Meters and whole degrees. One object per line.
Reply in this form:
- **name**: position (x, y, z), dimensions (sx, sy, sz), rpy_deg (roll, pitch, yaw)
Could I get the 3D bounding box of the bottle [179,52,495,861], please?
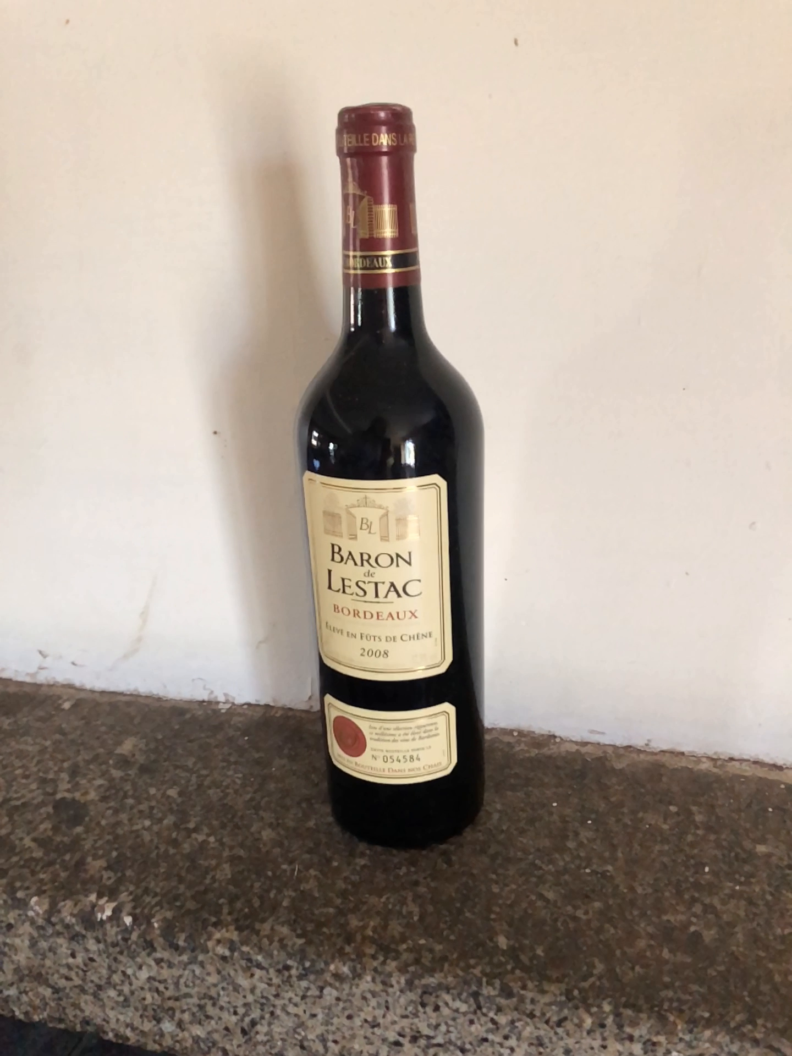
- **bottle**: position (-0.011, -0.017, 0.335), dimensions (0.080, 0.279, 0.070), rpy_deg (3, 20, 18)
